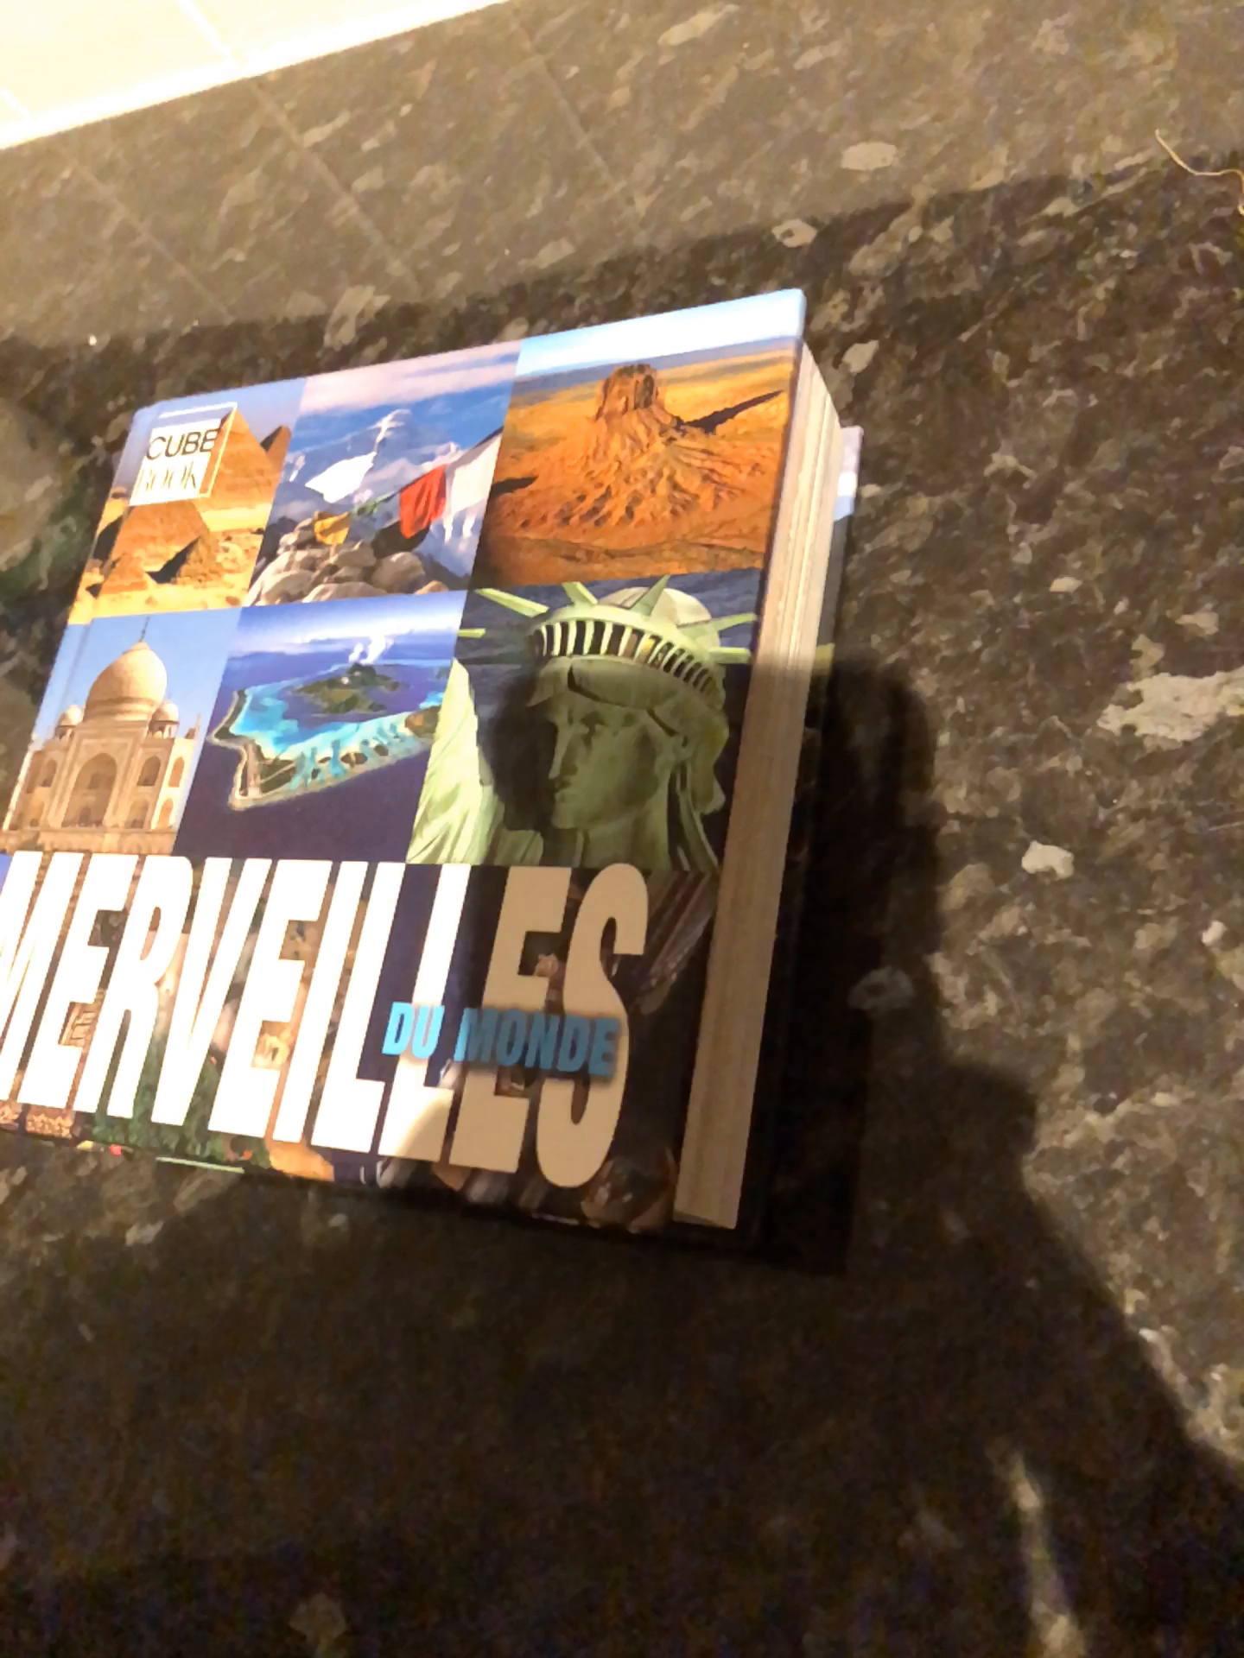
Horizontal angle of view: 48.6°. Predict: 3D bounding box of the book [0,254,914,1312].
[{"bbox_3d":[-0.044,-0.008,0.262,0.170,0.060,0.160,0,69,28],"label":"book"}]
